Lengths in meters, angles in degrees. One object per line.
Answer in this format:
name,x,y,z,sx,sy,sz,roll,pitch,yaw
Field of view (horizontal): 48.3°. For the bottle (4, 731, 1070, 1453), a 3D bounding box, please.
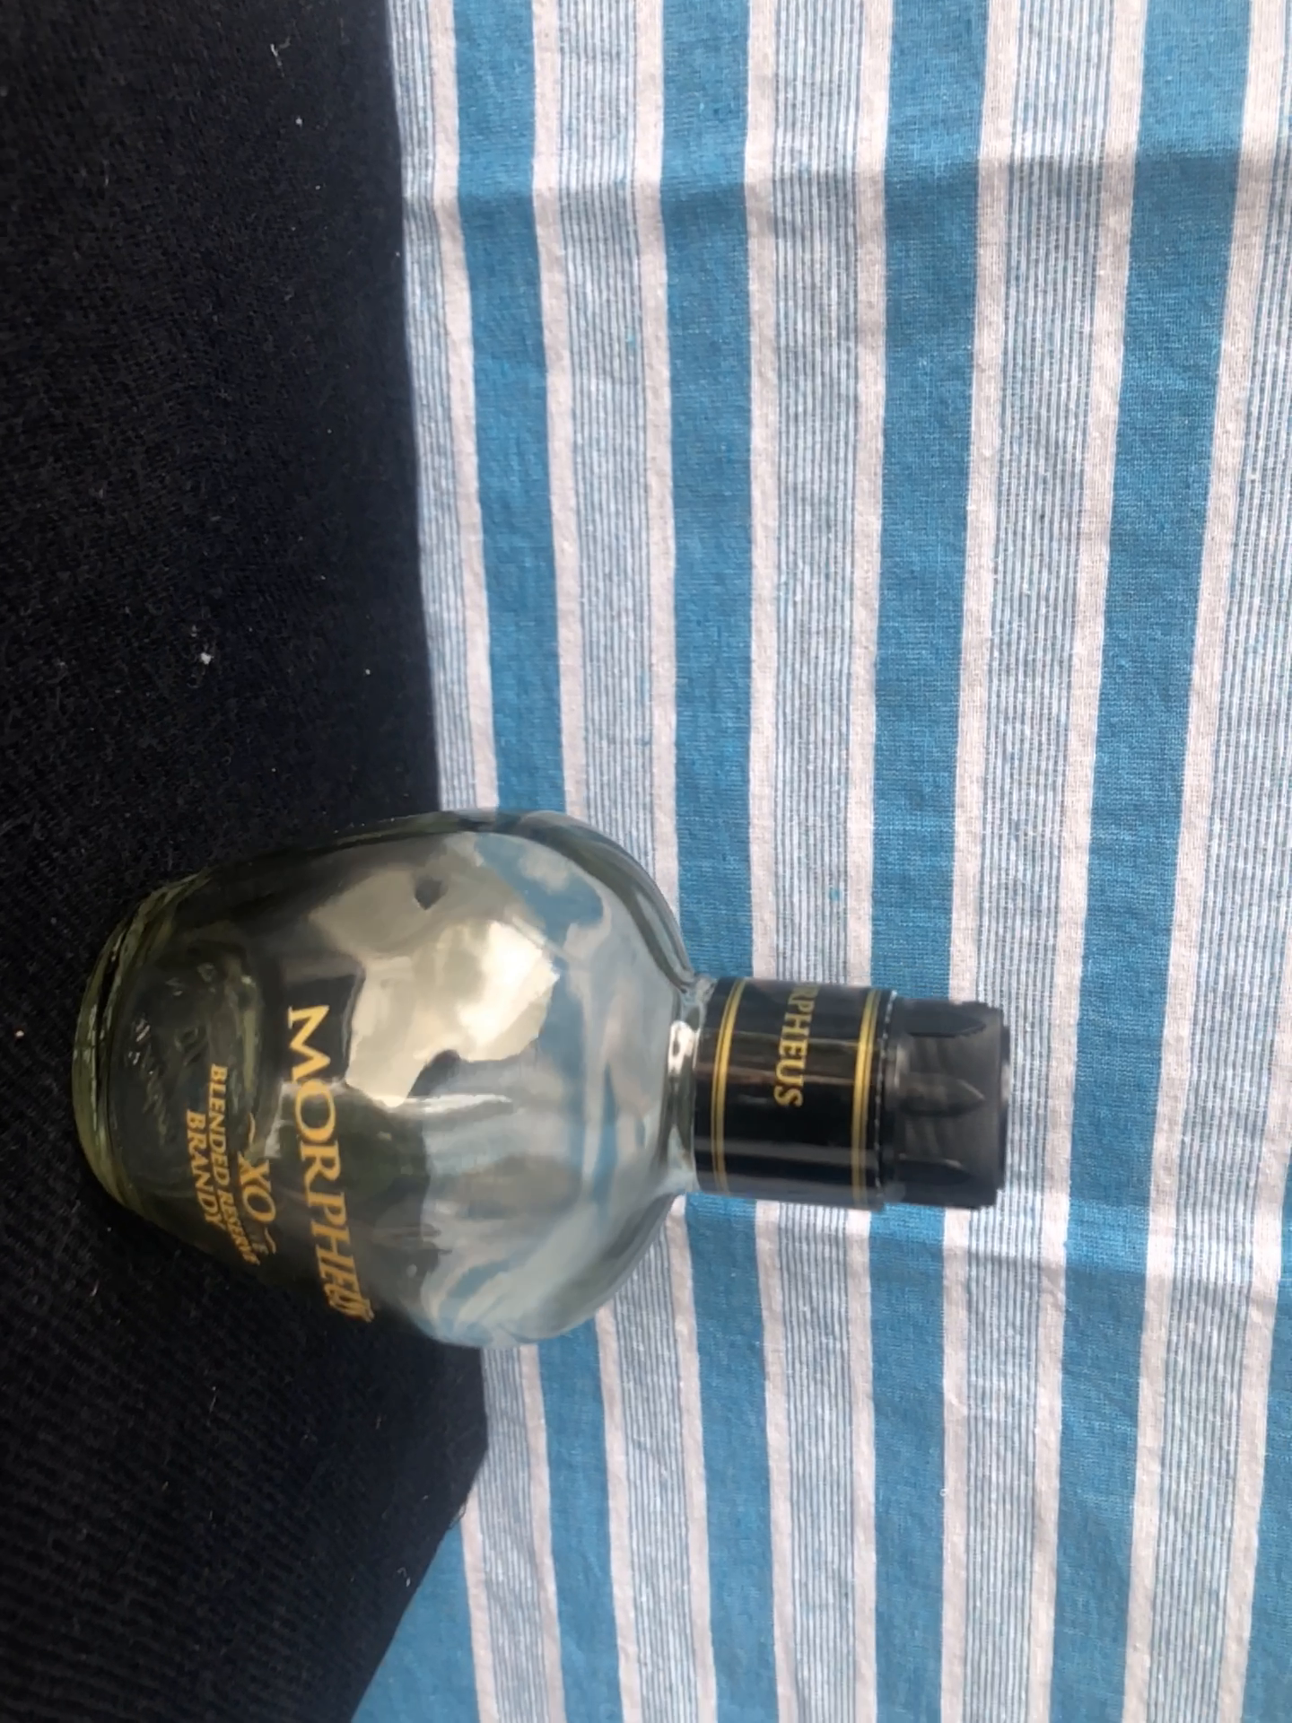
bottle,-0.011,0.027,0.204,0.050,0.129,0.070,-58,149,-59
